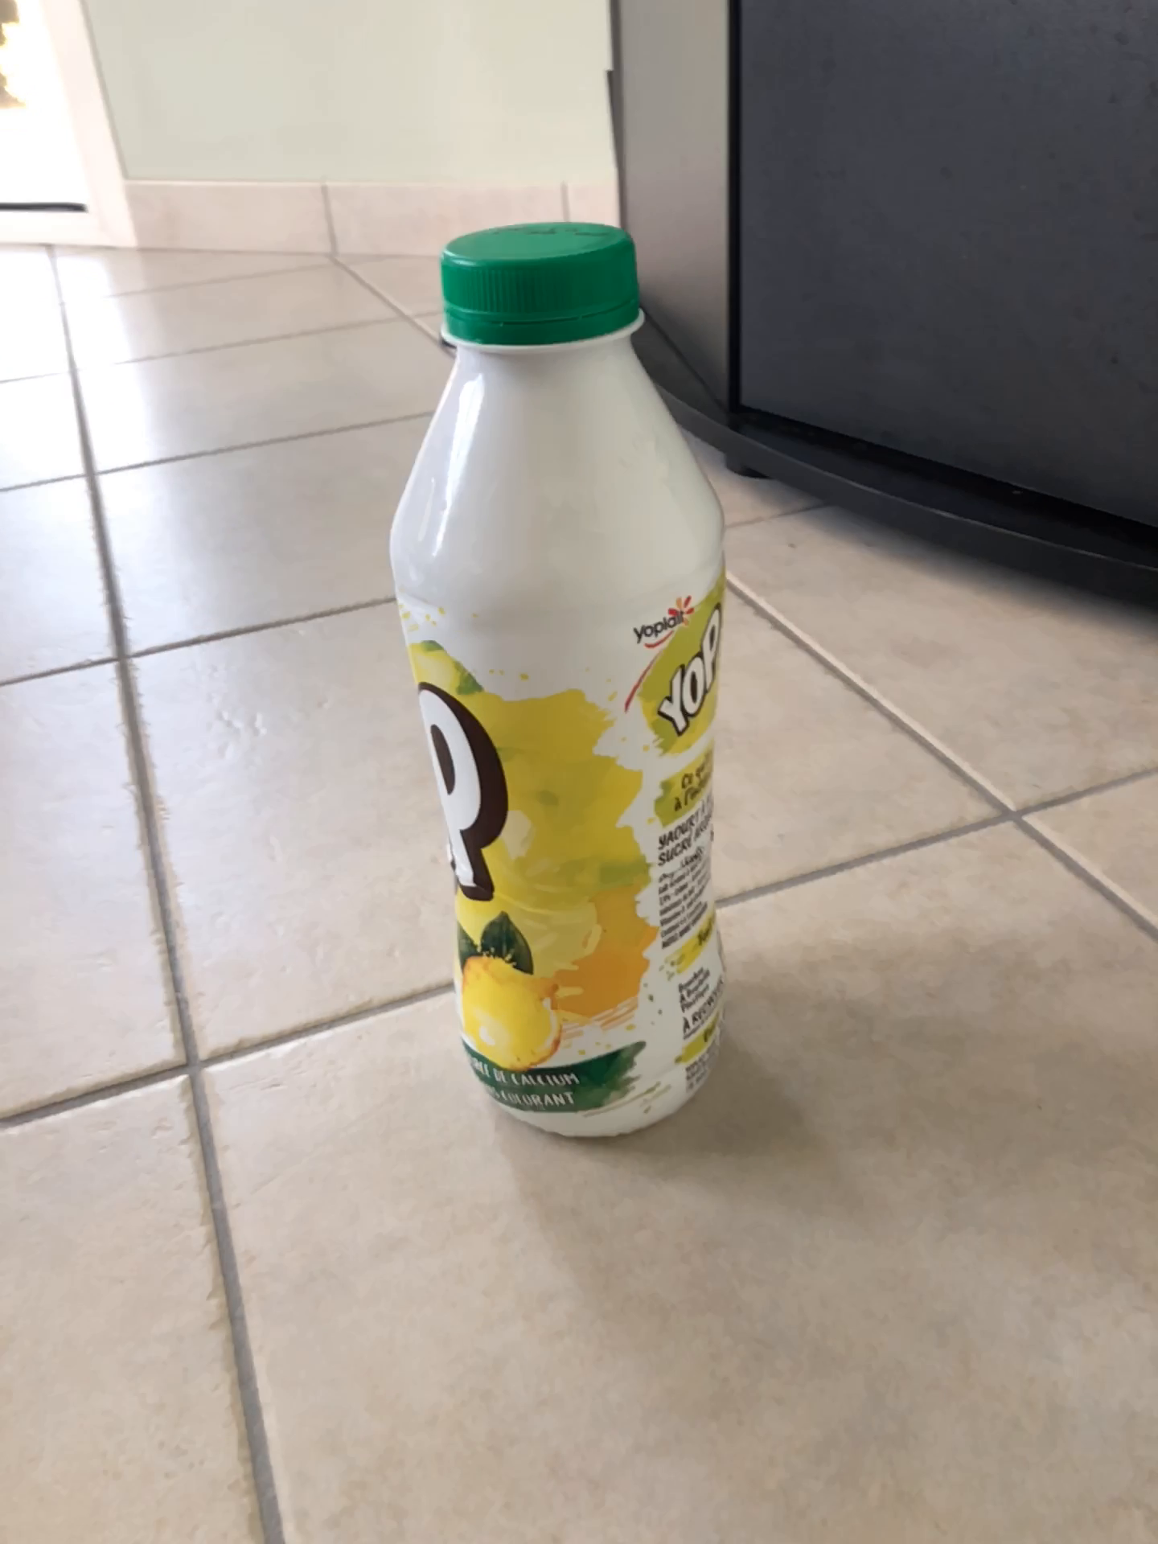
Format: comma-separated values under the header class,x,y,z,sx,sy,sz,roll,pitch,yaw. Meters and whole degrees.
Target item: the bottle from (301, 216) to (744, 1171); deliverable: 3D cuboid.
class,x,y,z,sx,sy,sz,roll,pitch,yaw
bottle,-0.003,-0.009,0.326,0.080,0.229,0.080,-4,32,2
